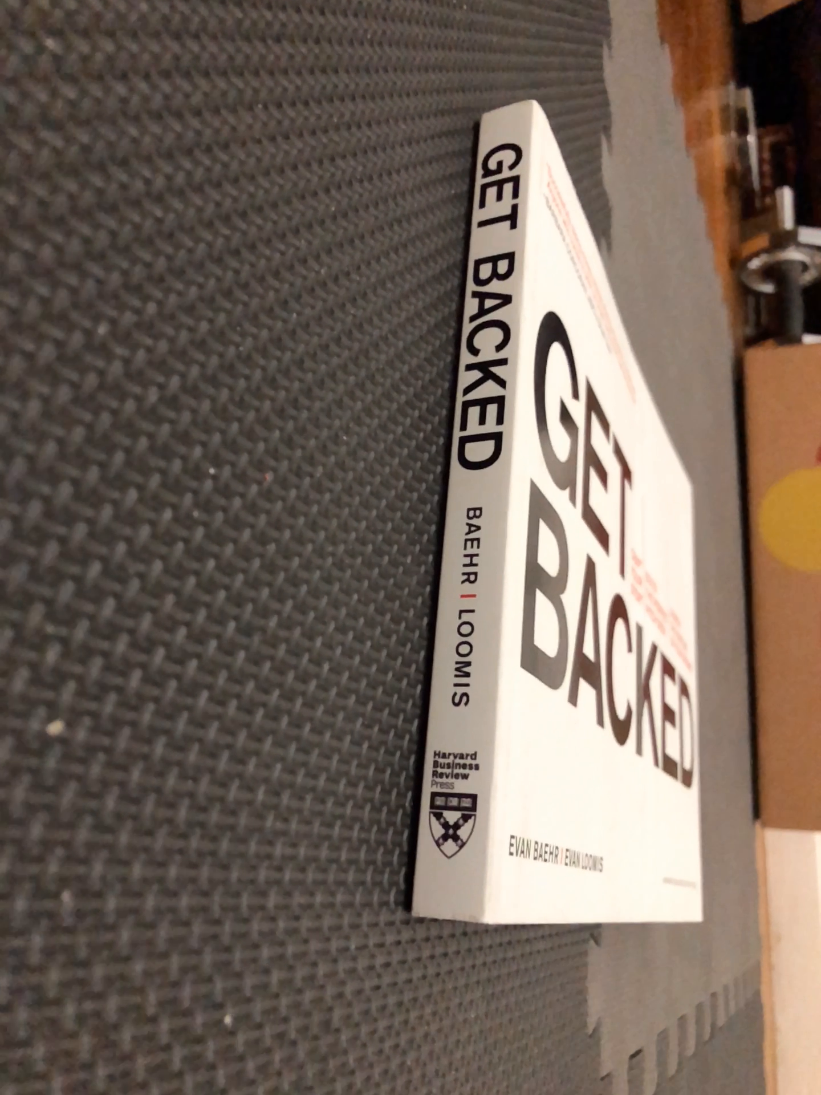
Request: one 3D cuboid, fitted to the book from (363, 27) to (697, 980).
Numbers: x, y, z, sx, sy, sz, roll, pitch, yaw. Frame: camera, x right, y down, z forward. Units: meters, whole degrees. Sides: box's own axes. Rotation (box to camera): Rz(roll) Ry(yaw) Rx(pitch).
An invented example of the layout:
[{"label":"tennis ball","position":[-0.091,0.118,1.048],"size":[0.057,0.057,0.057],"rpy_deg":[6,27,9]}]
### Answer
[{"label":"book","position":[0.064,0.018,0.302],"size":[0.261,0.020,0.210],"rpy_deg":[40,51,-58]}]
